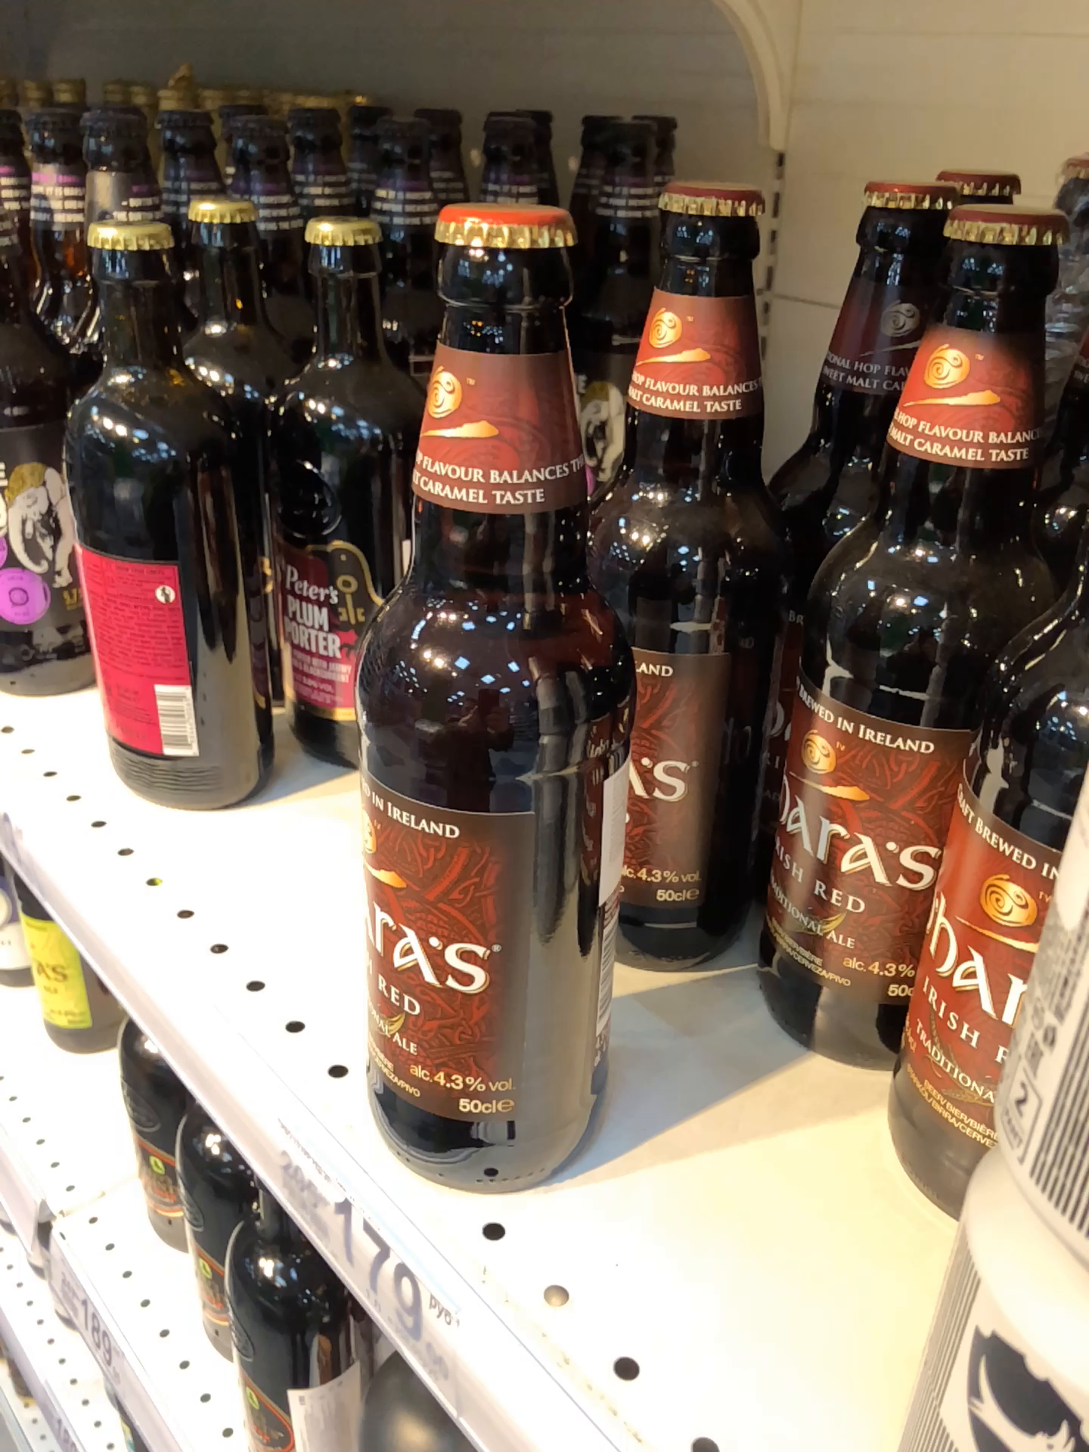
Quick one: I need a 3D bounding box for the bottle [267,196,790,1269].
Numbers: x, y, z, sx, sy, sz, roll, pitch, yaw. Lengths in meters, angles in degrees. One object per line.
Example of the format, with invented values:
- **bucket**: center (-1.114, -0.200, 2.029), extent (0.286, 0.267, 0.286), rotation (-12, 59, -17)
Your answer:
- **bottle**: center (-0.010, 0.006, 0.299), extent (0.080, 0.246, 0.080), rotation (1, 28, -1)
